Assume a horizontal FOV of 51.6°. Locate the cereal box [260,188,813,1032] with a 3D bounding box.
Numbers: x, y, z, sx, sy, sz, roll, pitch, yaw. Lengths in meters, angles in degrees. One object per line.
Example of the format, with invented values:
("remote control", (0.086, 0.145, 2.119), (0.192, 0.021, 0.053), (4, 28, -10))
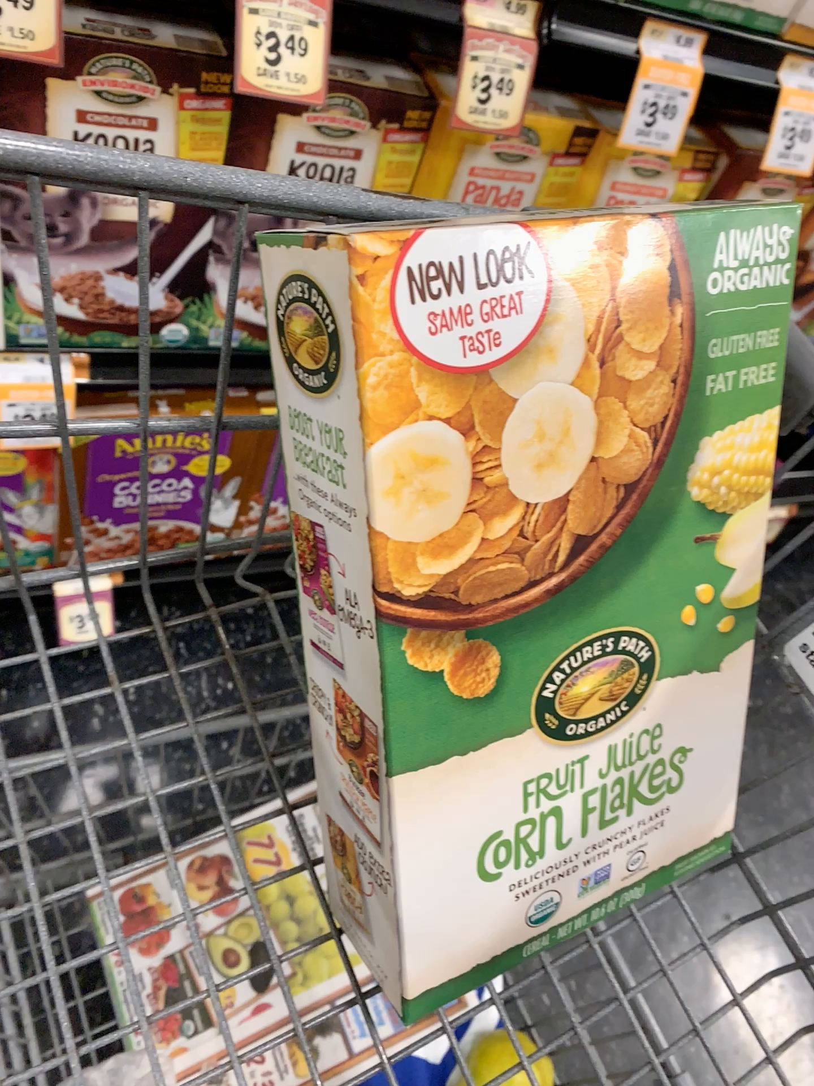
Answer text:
("cereal box", (0.051, 0.018, 0.289), (0.160, 0.250, 0.060), (-14, 24, -25))
